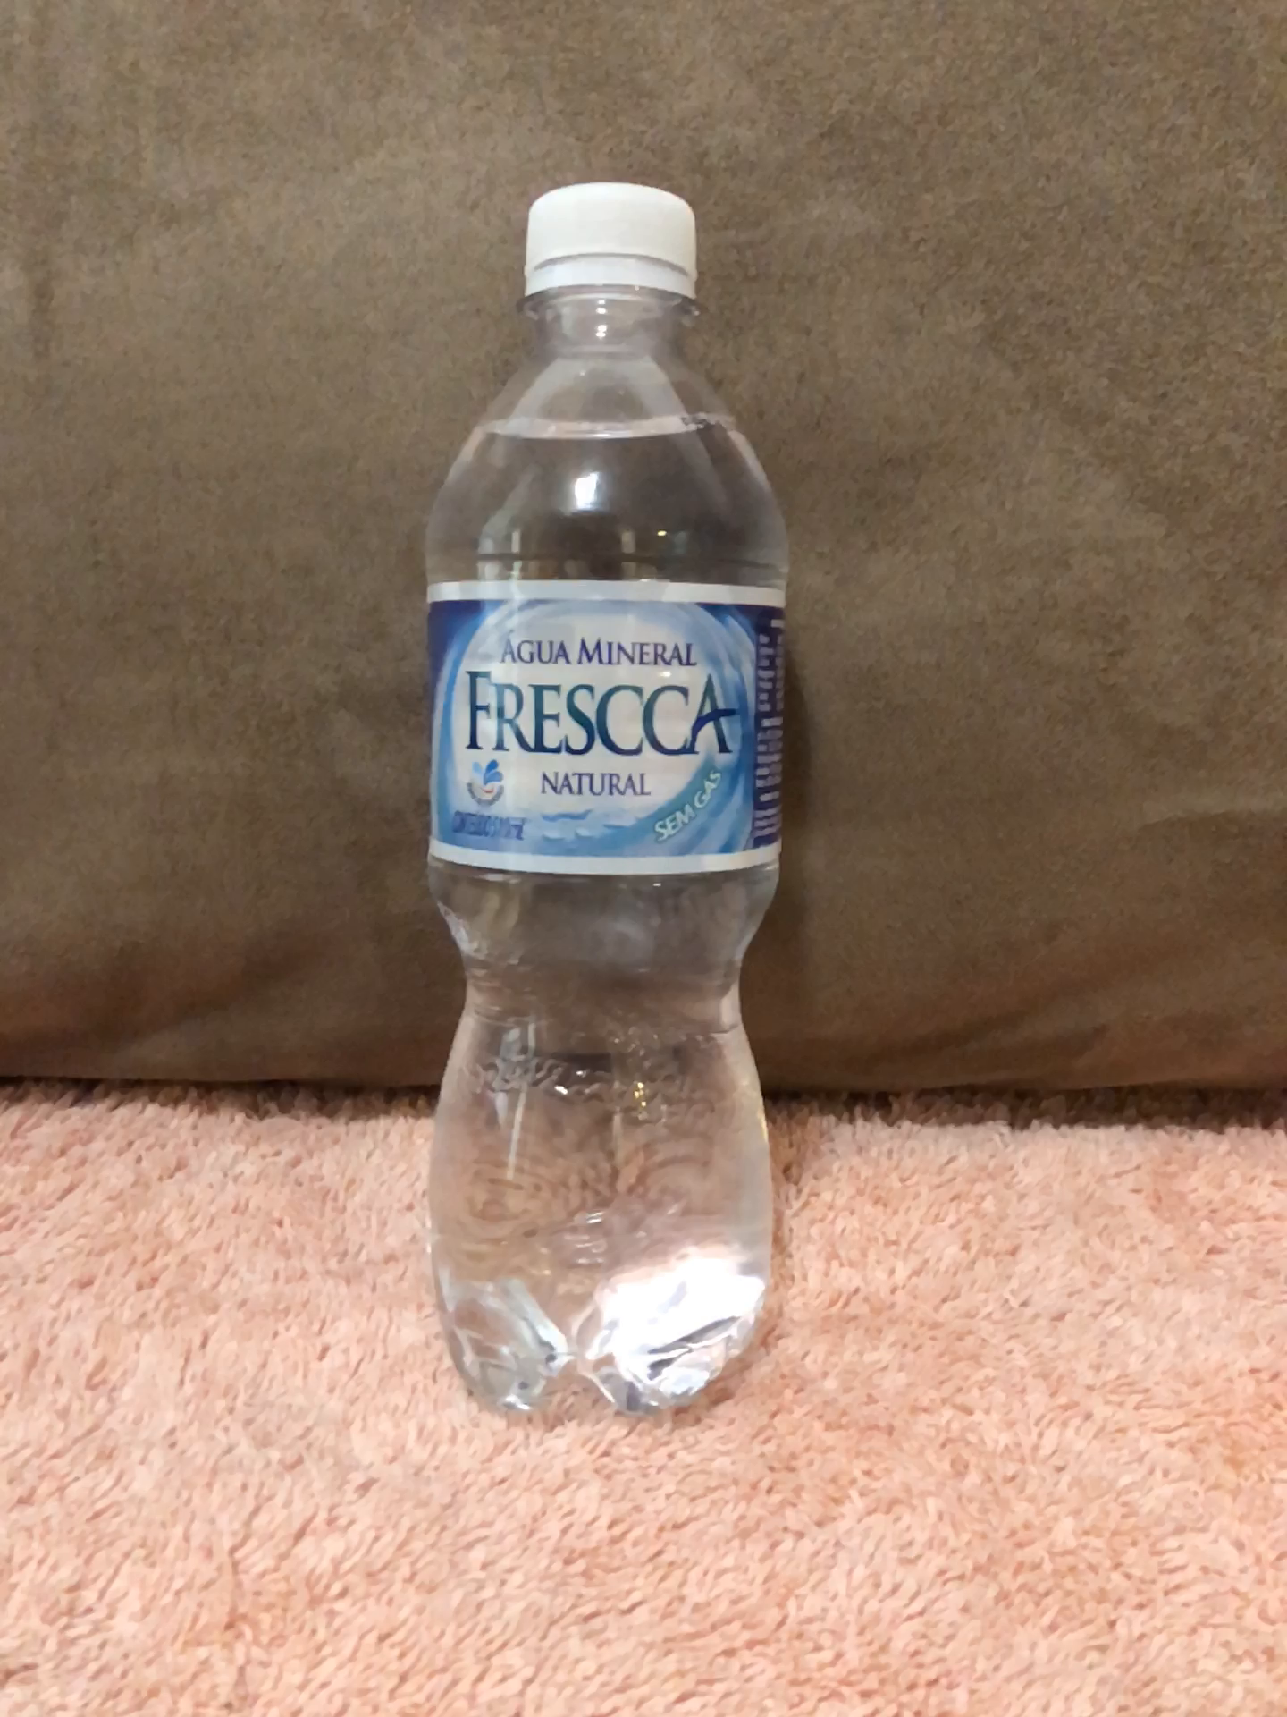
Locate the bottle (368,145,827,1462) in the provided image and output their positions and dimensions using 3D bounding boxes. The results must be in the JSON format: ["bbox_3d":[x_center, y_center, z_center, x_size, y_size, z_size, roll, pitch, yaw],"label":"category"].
[{"bbox_3d":[-0.003,-0.009,0.271,0.070,0.209,0.080,1,8,7],"label":"bottle"}]
